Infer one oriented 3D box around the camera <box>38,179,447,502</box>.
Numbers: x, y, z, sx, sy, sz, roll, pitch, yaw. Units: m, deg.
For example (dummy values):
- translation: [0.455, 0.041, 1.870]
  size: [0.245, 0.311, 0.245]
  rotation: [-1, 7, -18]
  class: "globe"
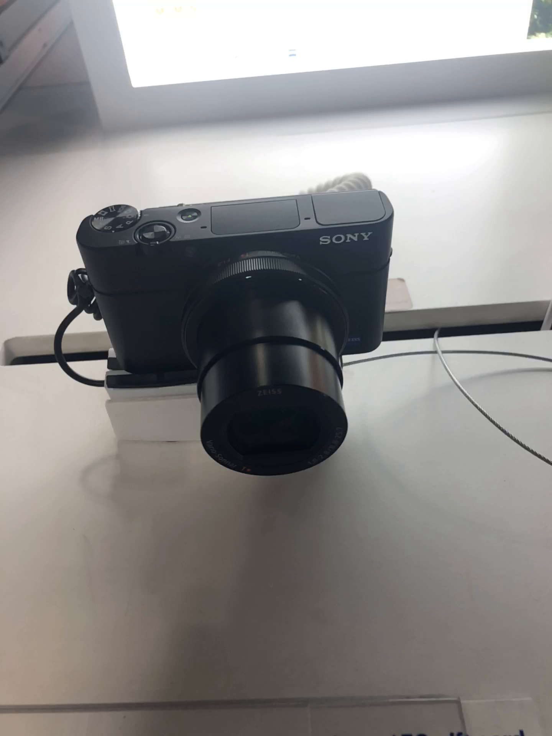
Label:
- translation: [-0.007, -0.009, 0.207]
  size: [0.105, 0.074, 0.070]
  rotation: [-4, 43, 3]
  class: "camera"
